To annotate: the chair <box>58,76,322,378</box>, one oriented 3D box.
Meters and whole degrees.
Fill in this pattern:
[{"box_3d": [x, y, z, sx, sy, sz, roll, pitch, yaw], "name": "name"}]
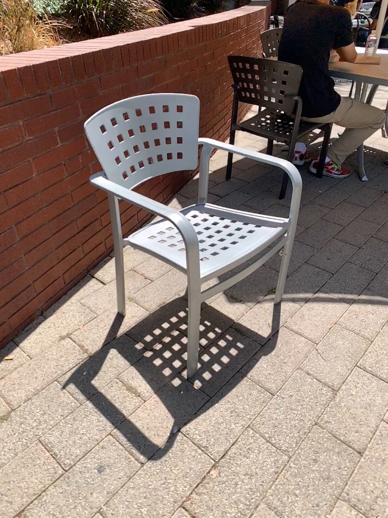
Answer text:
[{"box_3d": [0.007, -0.147, 1.318, 0.494, 0.718, 0.557, 25, 42, 34], "name": "chair"}]
